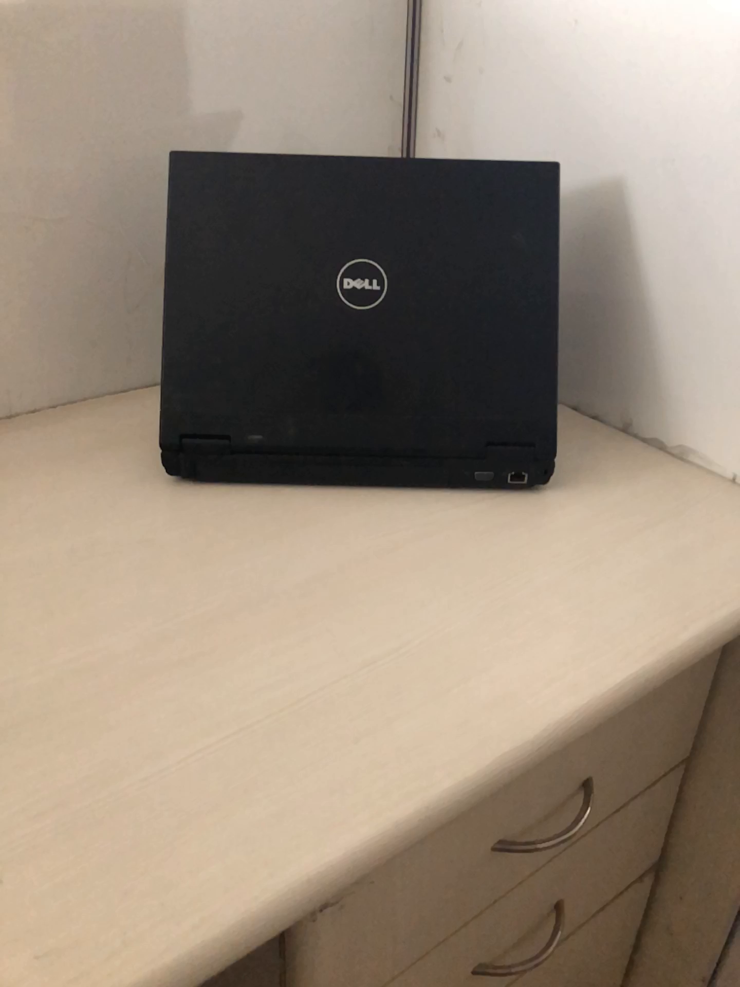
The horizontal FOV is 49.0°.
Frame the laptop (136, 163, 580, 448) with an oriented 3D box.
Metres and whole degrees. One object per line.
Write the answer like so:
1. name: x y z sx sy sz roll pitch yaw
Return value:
1. laptop: -0.010 -0.173 0.705 0.303 0.190 0.231 2 26 -1
